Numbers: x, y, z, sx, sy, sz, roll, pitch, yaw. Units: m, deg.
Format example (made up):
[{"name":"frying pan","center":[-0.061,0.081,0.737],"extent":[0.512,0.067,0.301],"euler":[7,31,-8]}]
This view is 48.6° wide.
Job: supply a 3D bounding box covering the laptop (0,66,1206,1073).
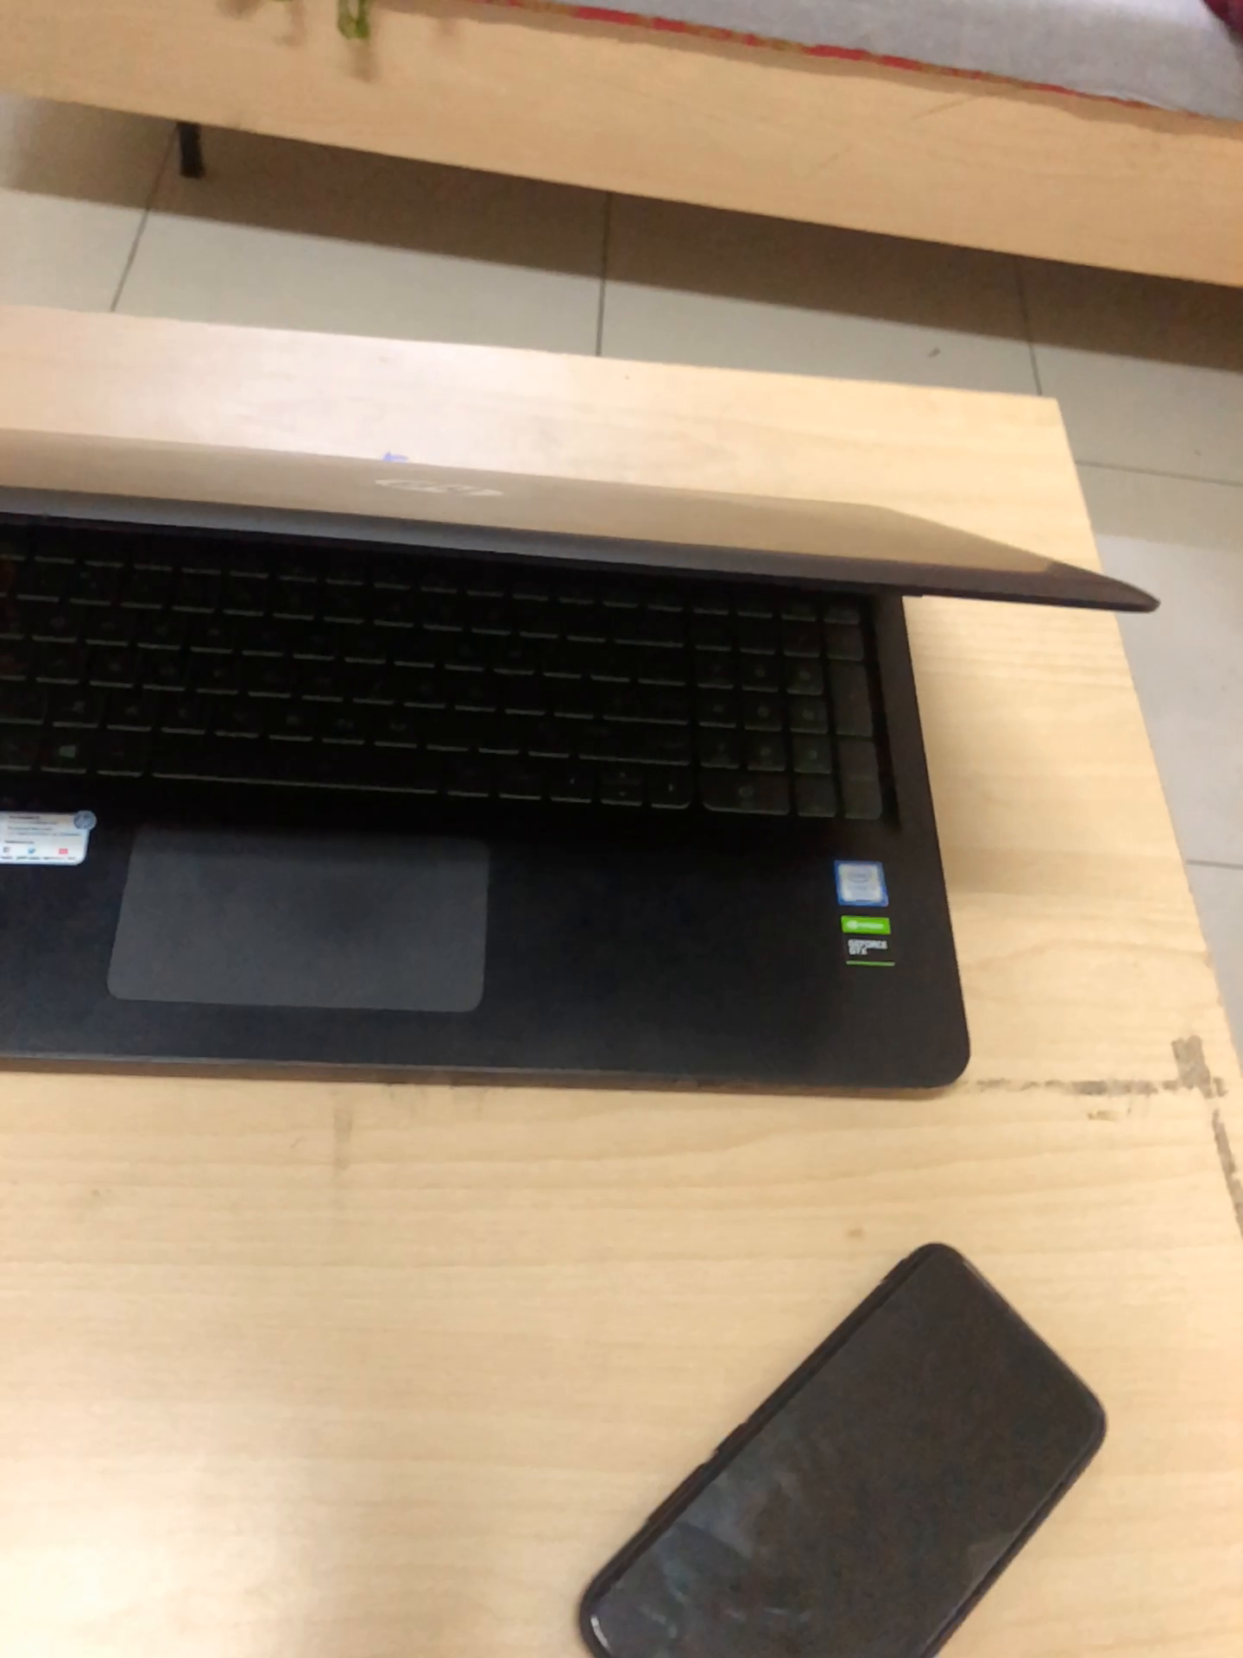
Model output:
[{"name":"laptop","center":[-0.059,-0.069,0.428],"extent":[0.359,0.167,0.231],"euler":[3,58,-7]}]
